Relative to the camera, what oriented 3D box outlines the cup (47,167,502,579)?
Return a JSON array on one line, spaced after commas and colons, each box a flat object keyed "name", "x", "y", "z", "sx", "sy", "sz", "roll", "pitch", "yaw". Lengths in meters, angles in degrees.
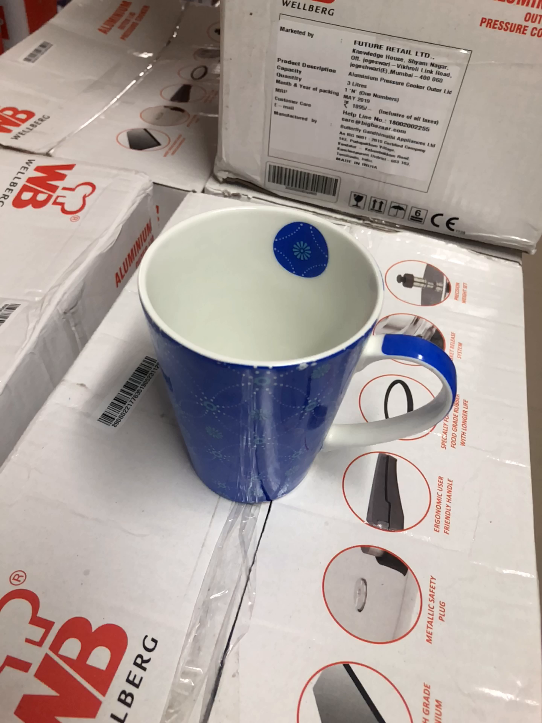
[{"name": "cup", "x": 0.003, "y": 0.005, "z": 0.214, "sx": 0.120, "sy": 0.089, "sz": 0.080, "roll": 15, "pitch": 47, "yaw": 4}]
